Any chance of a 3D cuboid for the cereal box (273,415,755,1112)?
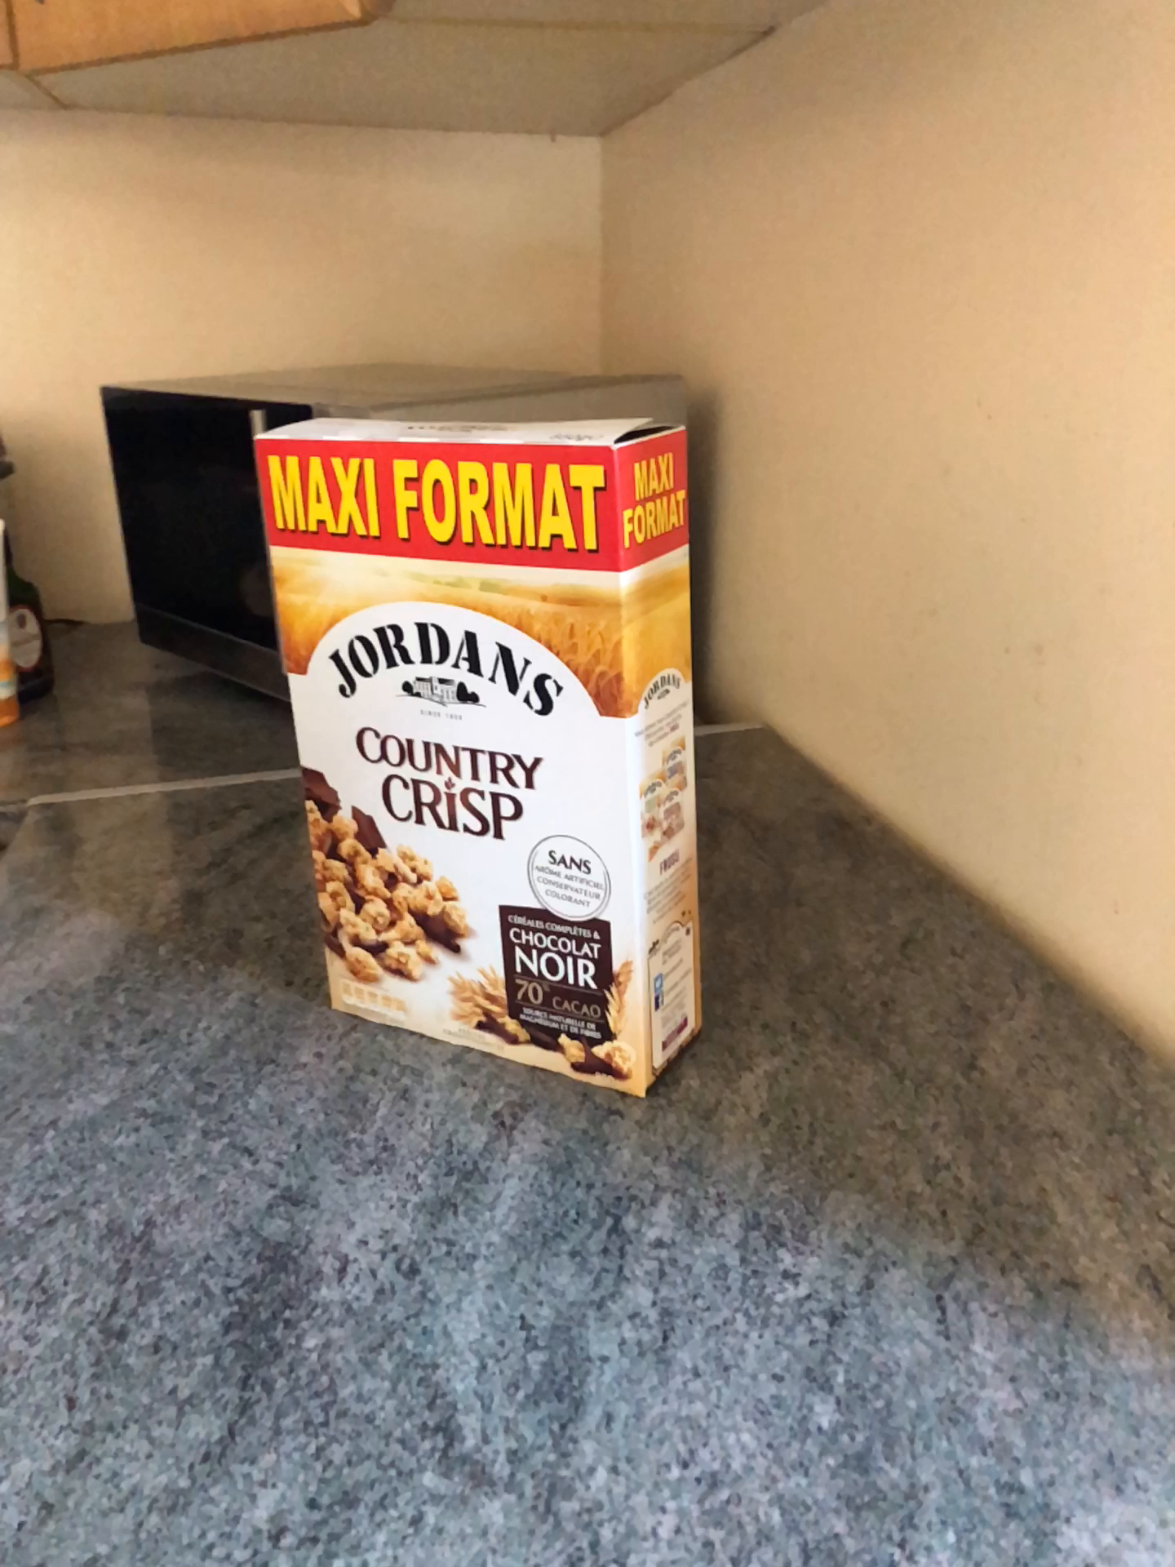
[{"bbox_3d":[-0.029,-0.016,0.611,0.200,0.299,0.070,9,24,29],"label":"cereal box"}]
